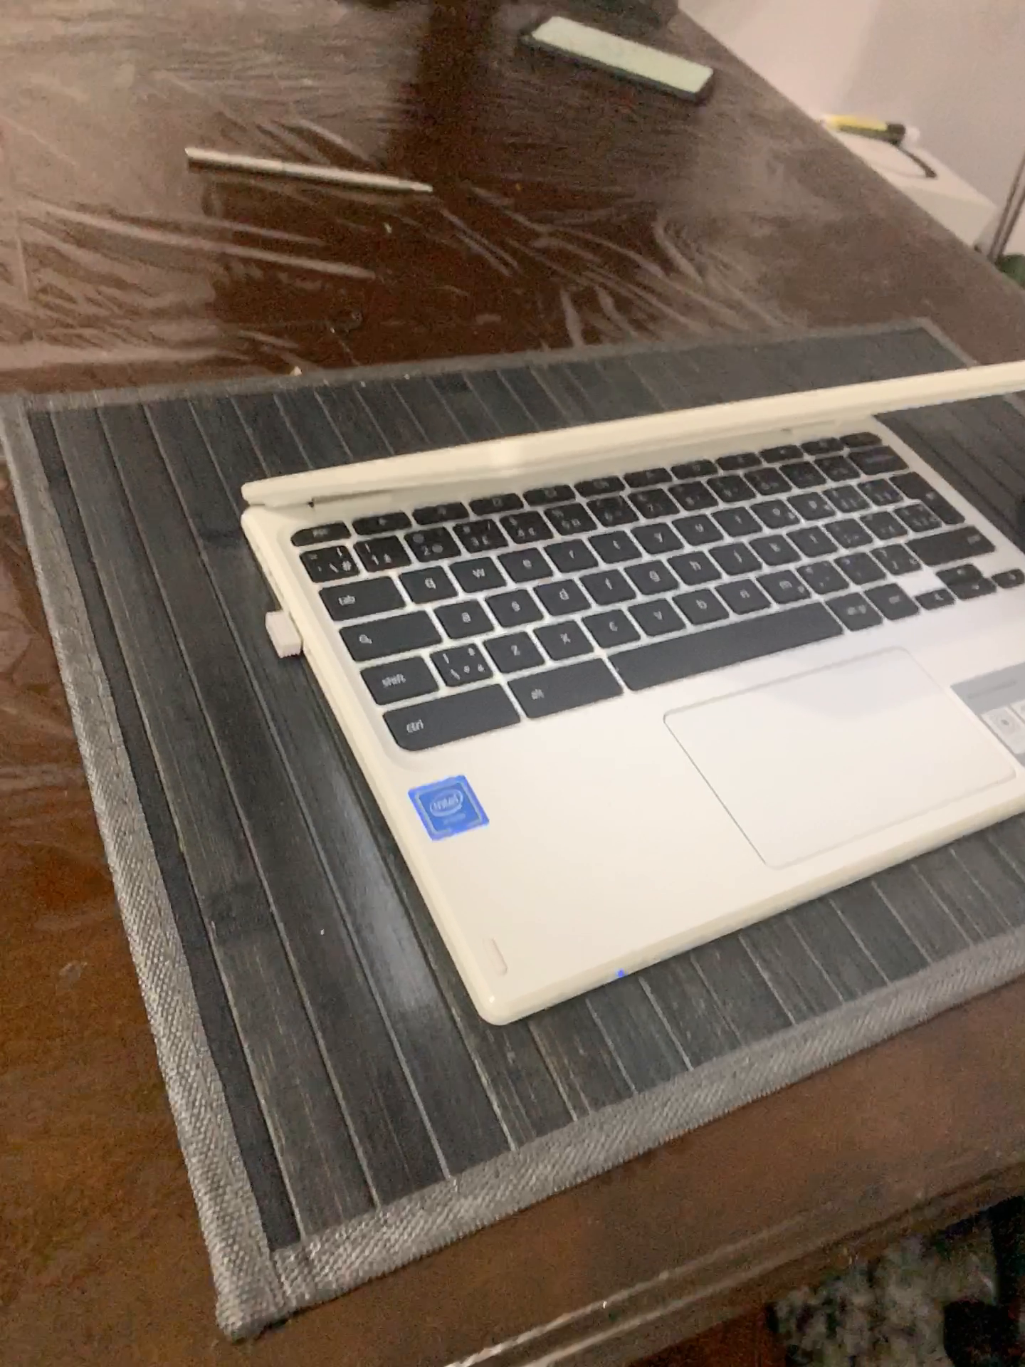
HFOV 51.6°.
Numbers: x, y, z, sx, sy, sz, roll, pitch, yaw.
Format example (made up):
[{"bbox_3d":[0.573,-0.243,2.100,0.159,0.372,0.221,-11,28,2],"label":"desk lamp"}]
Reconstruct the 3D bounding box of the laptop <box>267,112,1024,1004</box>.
[{"bbox_3d":[0.094,-0.062,0.311,0.281,0.124,0.181,-14,53,-25],"label":"laptop"}]
